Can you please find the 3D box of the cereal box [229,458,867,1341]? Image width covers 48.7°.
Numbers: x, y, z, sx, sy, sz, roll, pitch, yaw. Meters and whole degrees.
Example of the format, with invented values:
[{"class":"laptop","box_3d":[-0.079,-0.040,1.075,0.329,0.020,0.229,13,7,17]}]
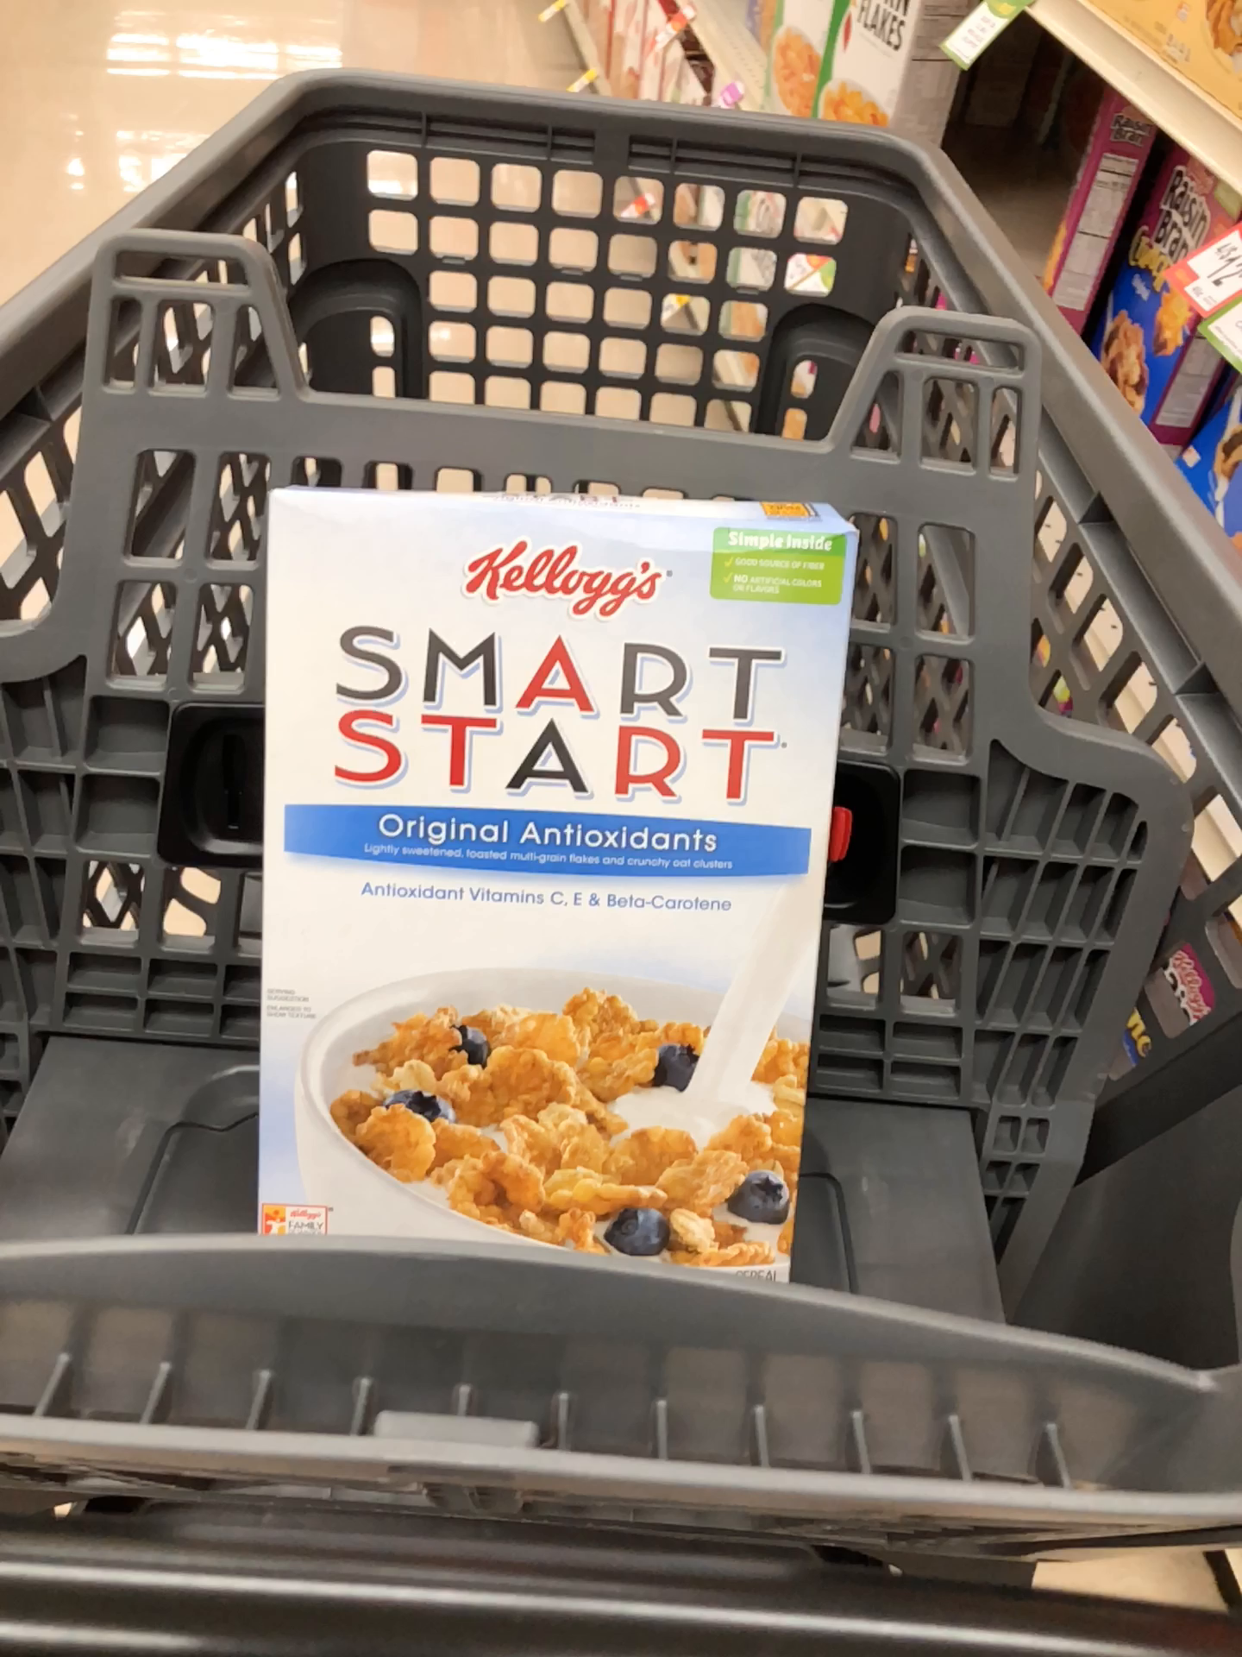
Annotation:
[{"class":"cereal box","box_3d":[-0.032,0.029,0.497,0.200,0.300,0.070,3,12,-5]}]
